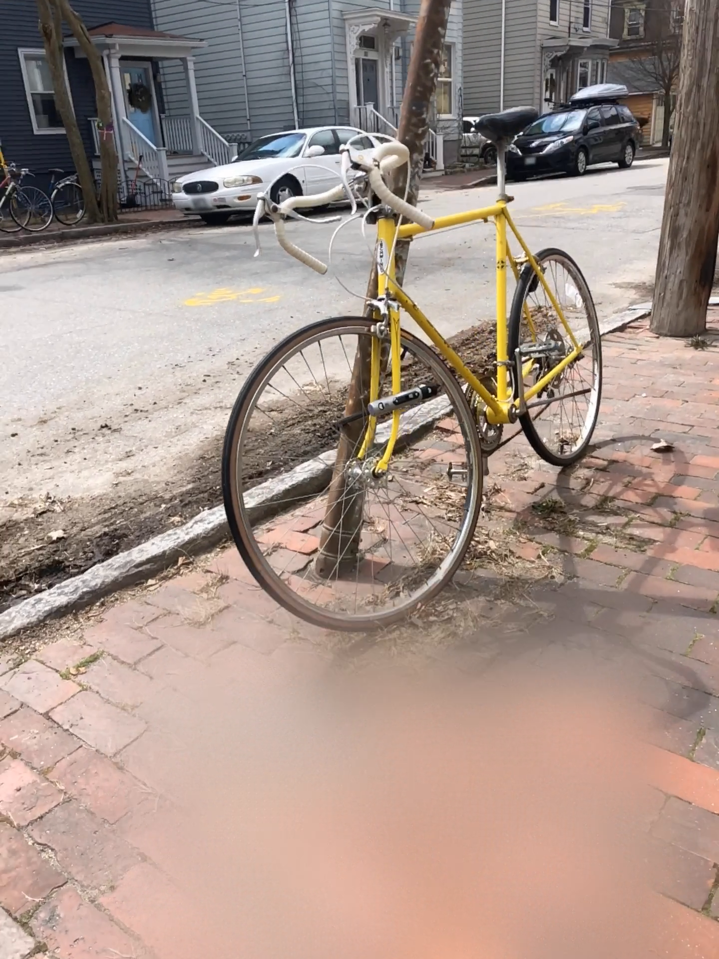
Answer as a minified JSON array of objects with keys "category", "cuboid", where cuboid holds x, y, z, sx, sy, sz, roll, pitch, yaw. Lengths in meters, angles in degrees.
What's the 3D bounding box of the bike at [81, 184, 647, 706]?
[{"category":"bike","cuboid":[0.184,-0.283,2.217,0.539,0.804,1.694,14,32,36]}]
